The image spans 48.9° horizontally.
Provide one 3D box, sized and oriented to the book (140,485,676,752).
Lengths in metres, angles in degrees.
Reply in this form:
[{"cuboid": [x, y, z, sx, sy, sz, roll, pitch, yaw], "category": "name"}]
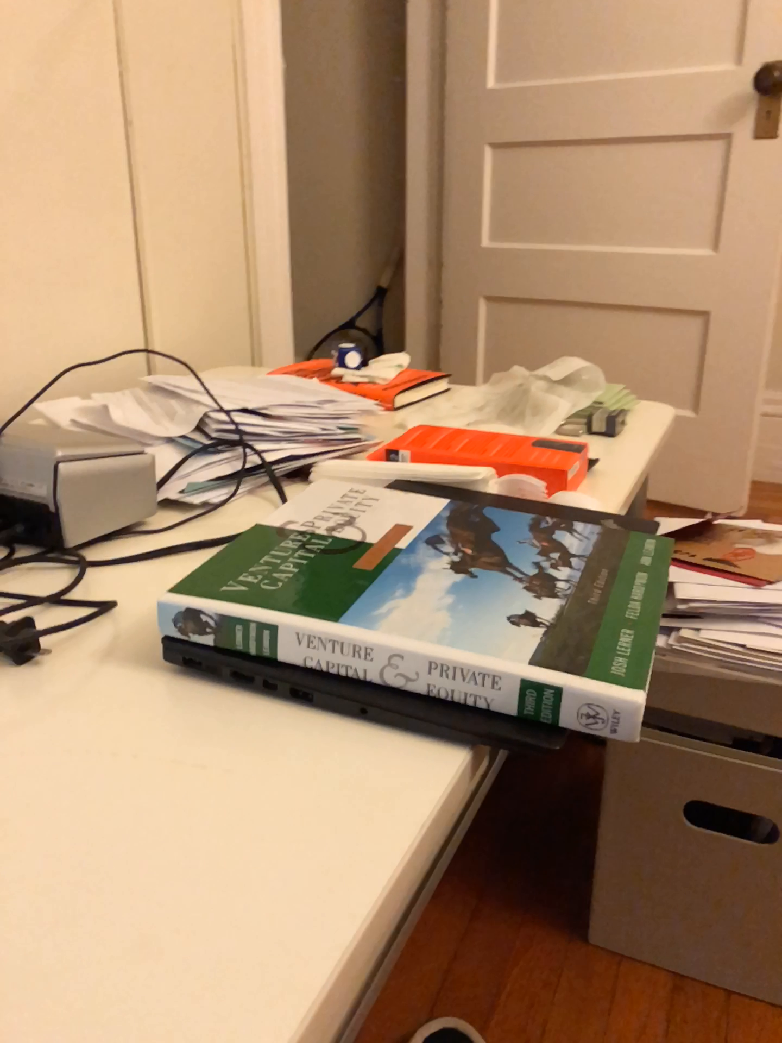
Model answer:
[{"cuboid": [0.027, 0.038, 0.530, 0.270, 0.030, 0.221, 8, 21, 18], "category": "book"}]
